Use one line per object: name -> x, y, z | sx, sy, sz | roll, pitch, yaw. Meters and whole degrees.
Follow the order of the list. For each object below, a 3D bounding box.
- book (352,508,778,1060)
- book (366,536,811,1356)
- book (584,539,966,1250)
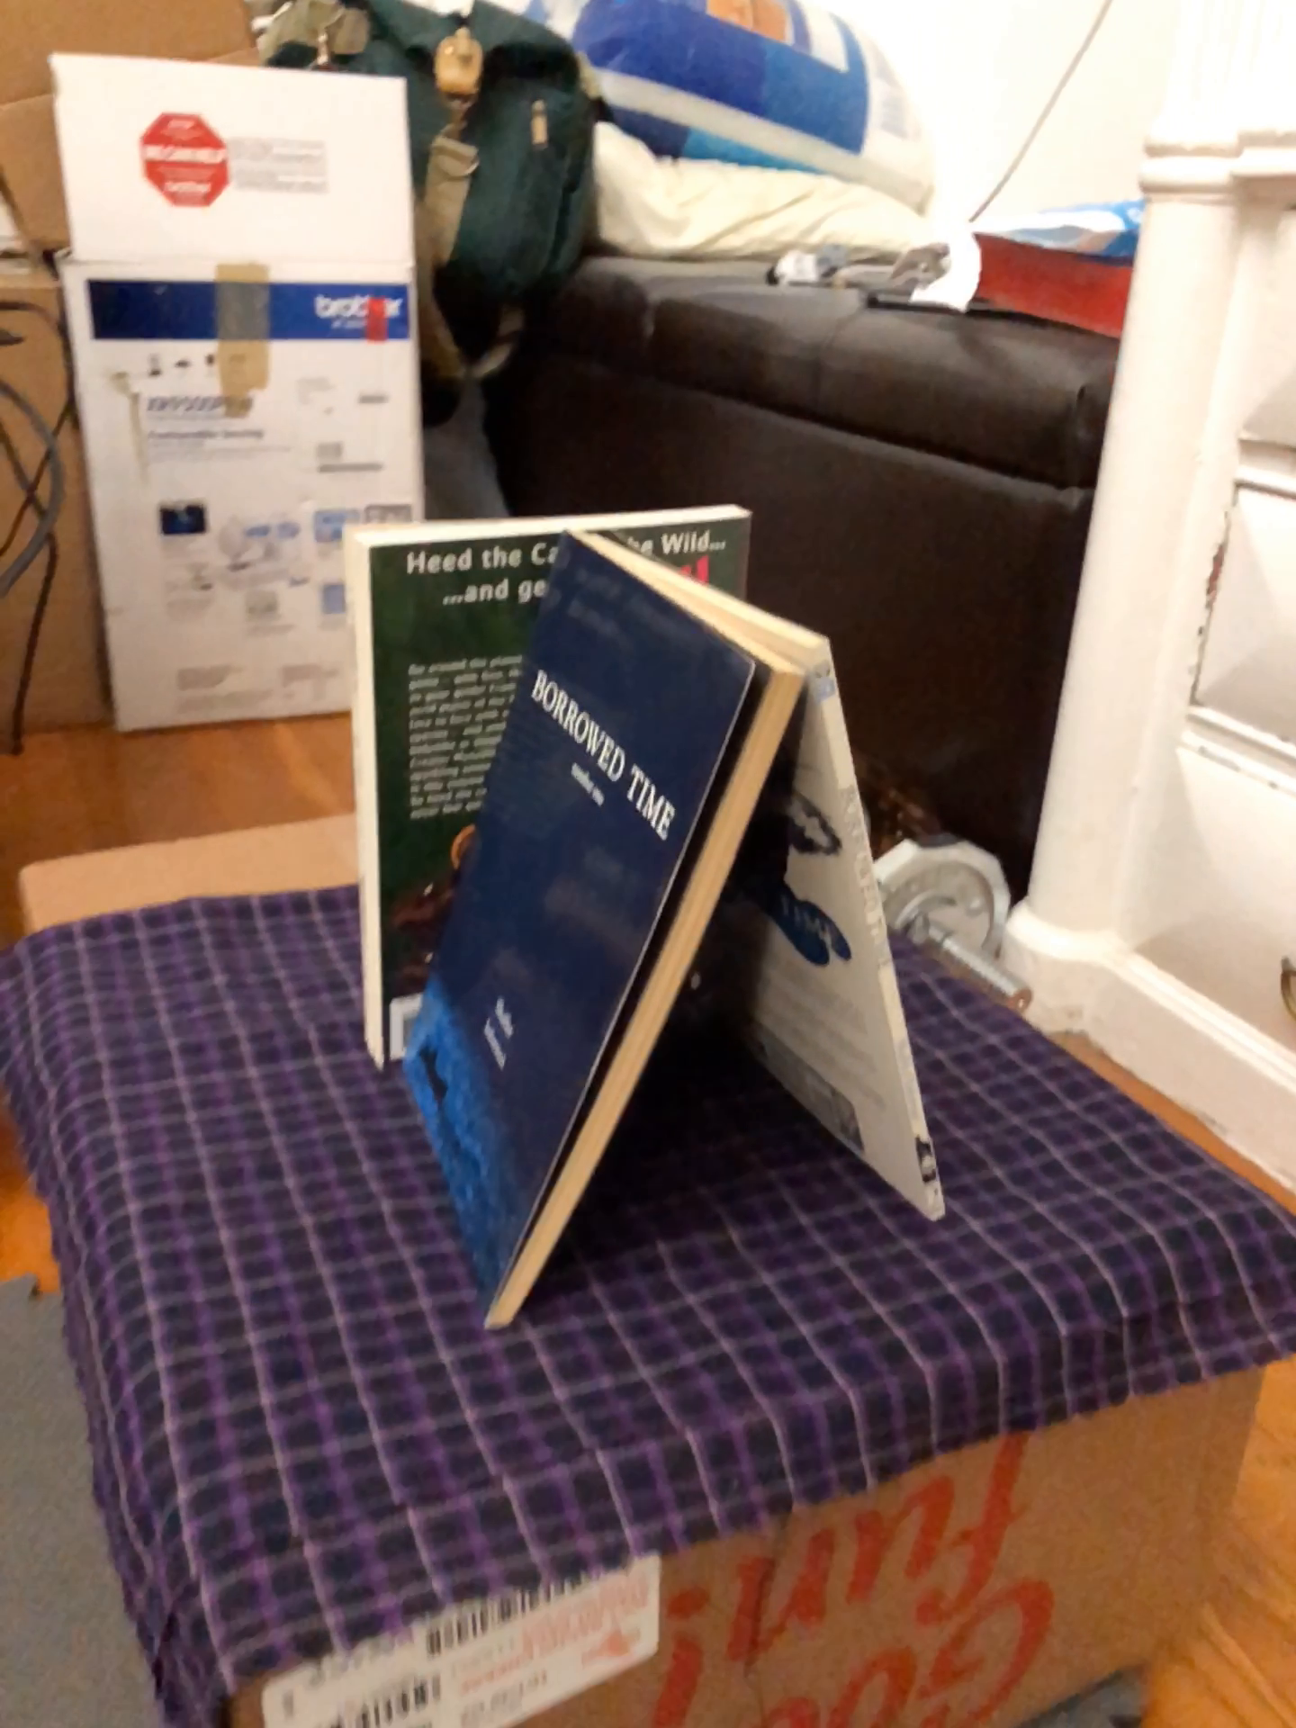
book -> -0.033, -0.026, 0.501 | 0.140, 0.189, 0.020 | -9, 33, -26
book -> -0.031, 0.015, 0.426 | 0.010, 0.199, 0.151 | 14, 18, -30
book -> 0.039, 0.007, 0.445 | 0.010, 0.199, 0.141 | -26, 31, -15
